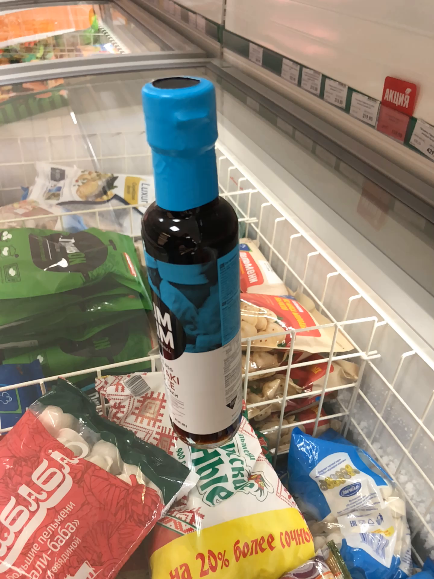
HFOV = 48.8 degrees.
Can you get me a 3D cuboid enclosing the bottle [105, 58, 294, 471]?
[{"bbox_3d":[-0.010,0.001,0.261,0.060,0.219,0.060,0,37,0],"label":"bottle"}]
